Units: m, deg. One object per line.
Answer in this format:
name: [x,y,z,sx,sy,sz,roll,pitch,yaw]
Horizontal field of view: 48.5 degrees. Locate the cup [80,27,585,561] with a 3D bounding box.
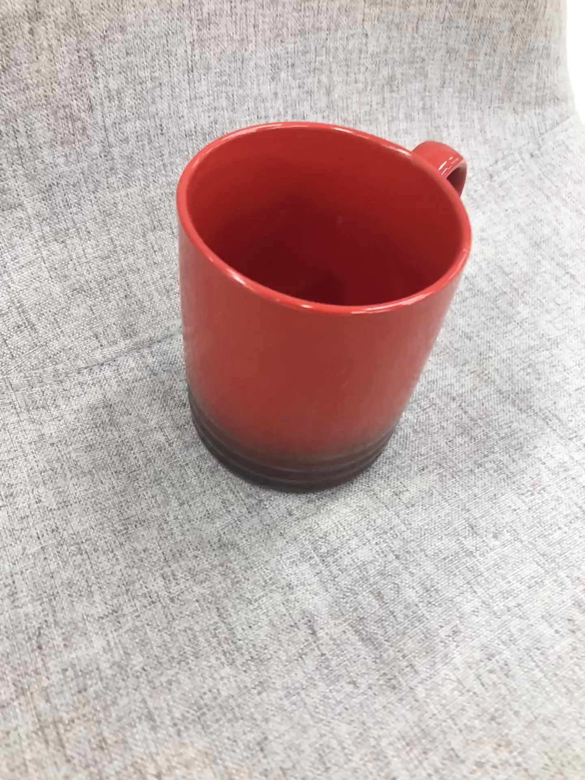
cup: [0.016,-0.036,0.225,0.080,0.099,0.141,34,58,16]
